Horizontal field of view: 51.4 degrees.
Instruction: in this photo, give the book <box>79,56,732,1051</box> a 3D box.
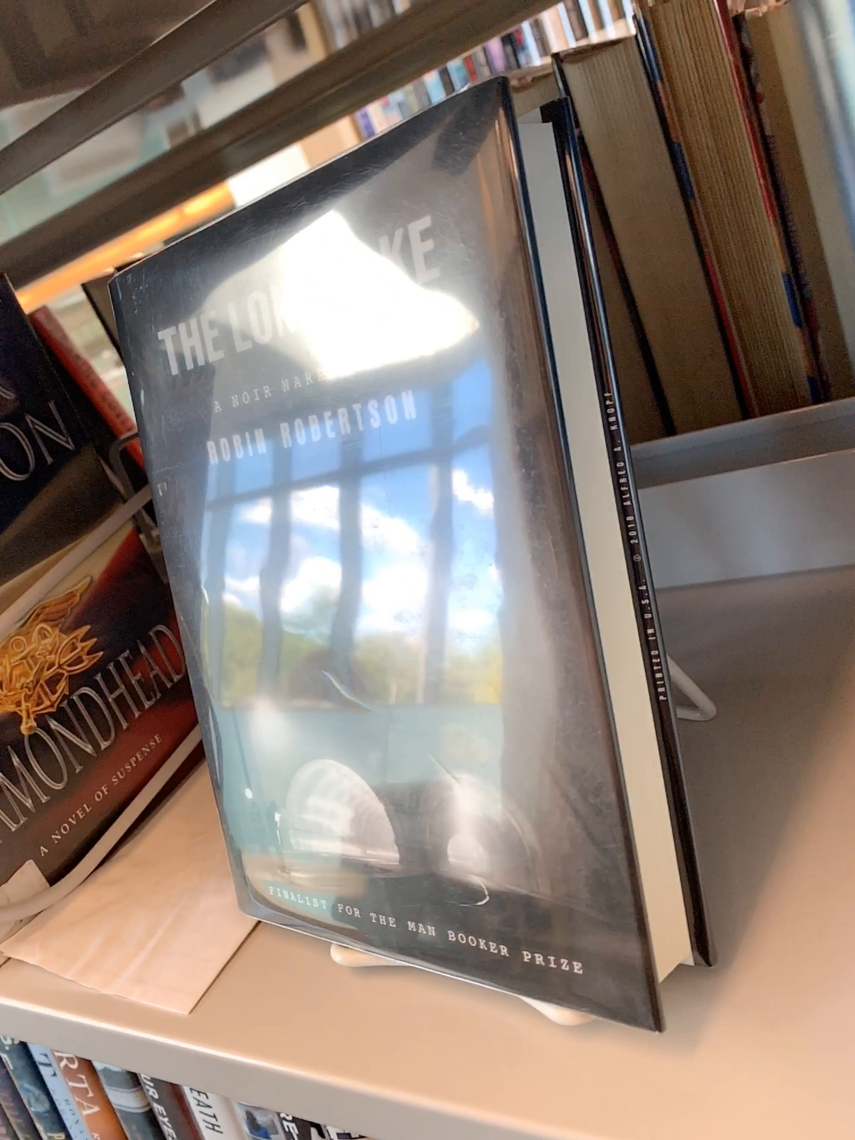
[{"bbox_3d":[-0.017,0.004,0.248,0.160,0.206,0.040,-6,7,41],"label":"book"}]
